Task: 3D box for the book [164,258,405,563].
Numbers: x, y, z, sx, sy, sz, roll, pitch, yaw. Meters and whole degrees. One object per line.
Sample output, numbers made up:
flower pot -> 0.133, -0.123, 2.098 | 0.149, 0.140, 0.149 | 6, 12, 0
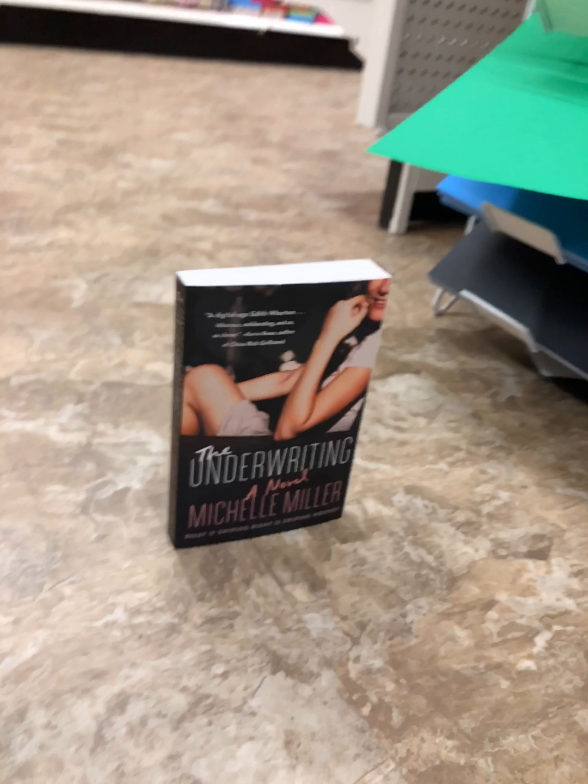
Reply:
book -> -0.013, 0.015, 0.445 | 0.140, 0.203, 0.035 | -7, 34, -24
